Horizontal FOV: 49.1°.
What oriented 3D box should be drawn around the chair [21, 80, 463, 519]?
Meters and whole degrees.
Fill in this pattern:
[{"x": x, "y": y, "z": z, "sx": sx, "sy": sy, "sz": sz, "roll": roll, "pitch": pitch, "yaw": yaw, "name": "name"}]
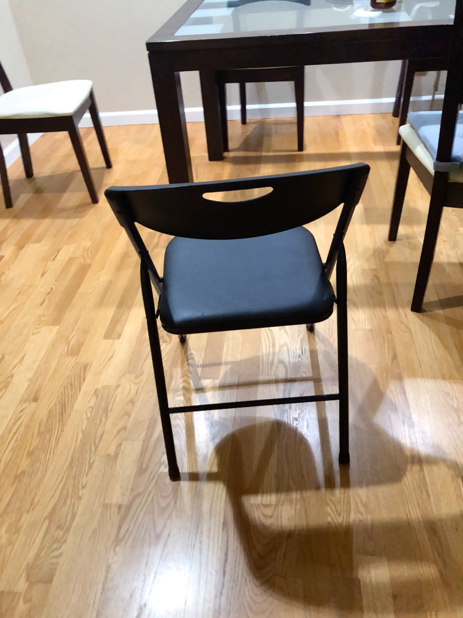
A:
[{"x": 0.040, "y": -0.044, "z": 1.136, "sx": 0.610, "sy": 0.656, "sz": 0.684, "roll": -4, "pitch": 39, "yaw": 1, "name": "chair"}]
